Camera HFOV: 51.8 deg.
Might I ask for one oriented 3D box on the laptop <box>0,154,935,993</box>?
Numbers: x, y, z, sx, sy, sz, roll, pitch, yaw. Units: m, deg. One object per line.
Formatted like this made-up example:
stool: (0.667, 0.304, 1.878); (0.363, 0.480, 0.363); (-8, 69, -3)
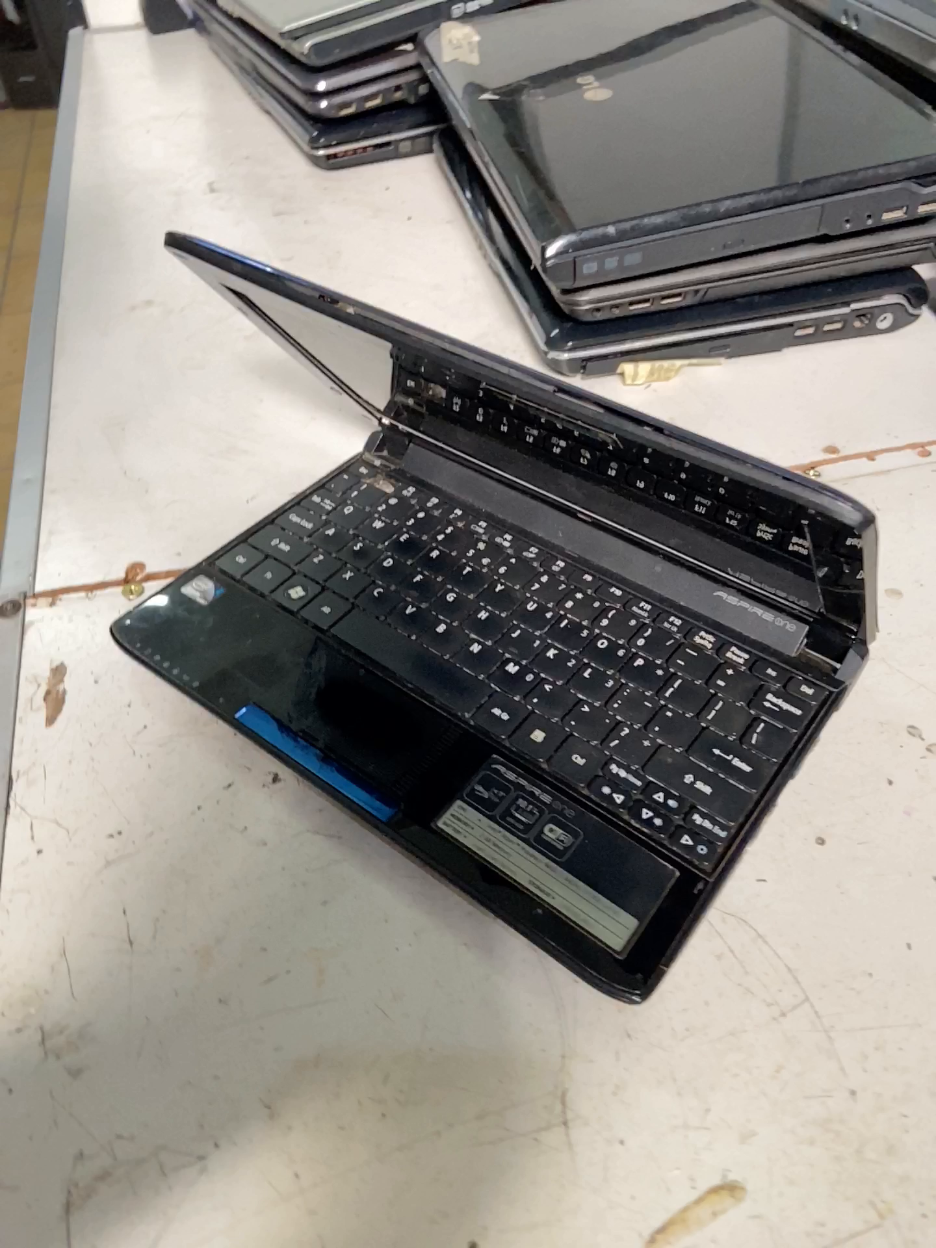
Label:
laptop: (0.002, -0.040, 0.330); (0.244, 0.131, 0.172); (28, 53, 26)
